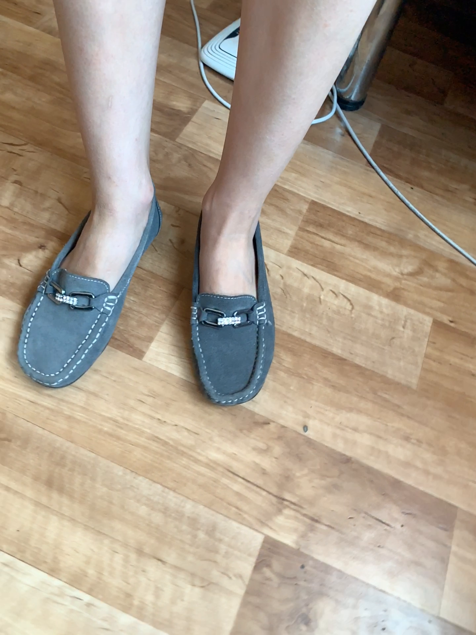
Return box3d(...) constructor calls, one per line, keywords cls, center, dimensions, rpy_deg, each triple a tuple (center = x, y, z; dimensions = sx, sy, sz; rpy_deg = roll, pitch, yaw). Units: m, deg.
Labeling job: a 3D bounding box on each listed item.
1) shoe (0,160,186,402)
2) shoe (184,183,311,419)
box3d(cls="shoe", center=(-0.143, -0.047, 0.497), dimensions=(0.090, 0.060, 0.240), rpy_deg=(20, 60, 6))
box3d(cls="shoe", center=(0.000, -0.023, 0.501), dimensions=(0.100, 0.060, 0.240), rpy_deg=(0, 61, -10))
